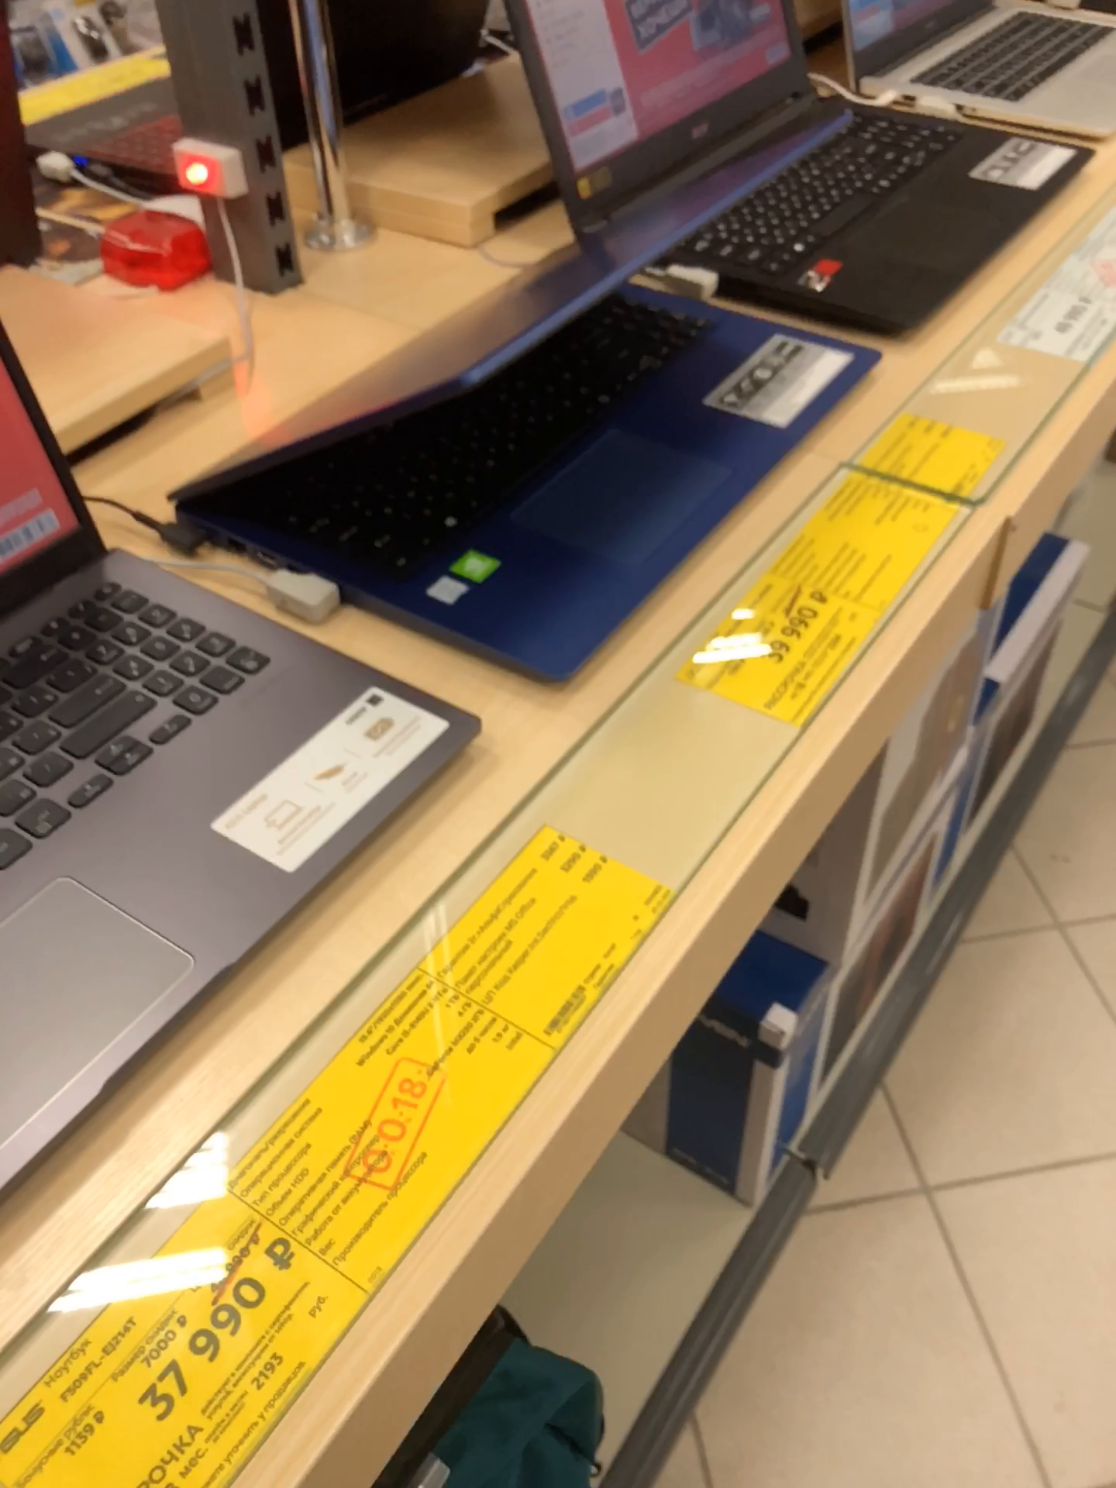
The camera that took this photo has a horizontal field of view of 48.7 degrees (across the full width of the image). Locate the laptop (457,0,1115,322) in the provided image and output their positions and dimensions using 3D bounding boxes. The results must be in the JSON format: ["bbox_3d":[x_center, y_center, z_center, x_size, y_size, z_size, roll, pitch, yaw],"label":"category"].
[{"bbox_3d":[0.182,-0.535,0.895,0.354,0.226,0.359,27,51,25],"label":"laptop"}]

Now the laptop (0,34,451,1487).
[{"bbox_3d":[-0.278,-0.034,0.393,0.302,0.206,0.392,26,49,22],"label":"laptop"}]

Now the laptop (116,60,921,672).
[{"bbox_3d":[0.000,-0.235,0.674,0.246,0.126,0.368,25,50,24],"label":"laptop"}]
